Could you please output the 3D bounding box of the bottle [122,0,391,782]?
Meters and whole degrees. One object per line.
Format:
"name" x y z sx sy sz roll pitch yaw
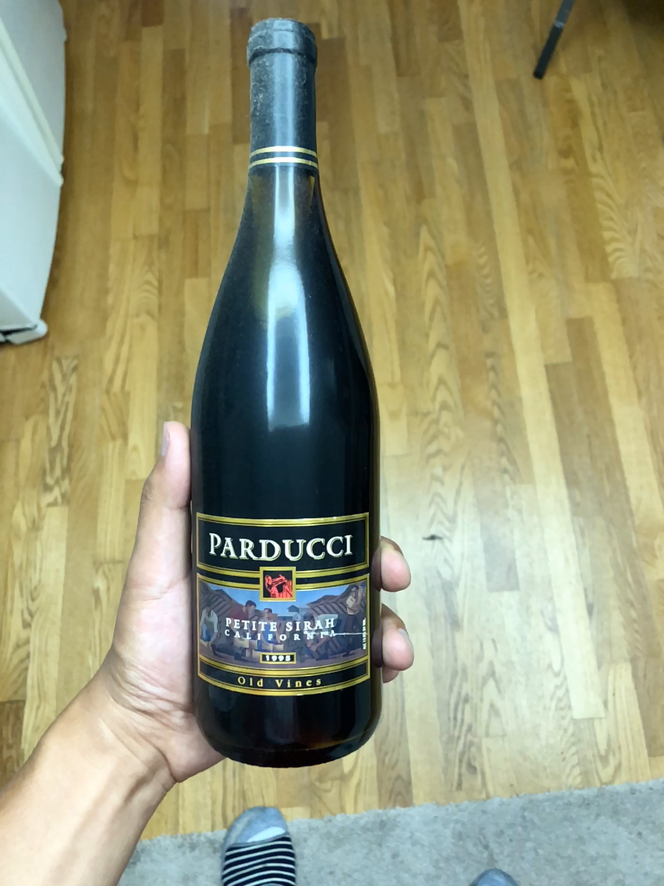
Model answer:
"bottle" -0.024 -0.015 0.297 0.090 0.070 0.280 0 97 2
